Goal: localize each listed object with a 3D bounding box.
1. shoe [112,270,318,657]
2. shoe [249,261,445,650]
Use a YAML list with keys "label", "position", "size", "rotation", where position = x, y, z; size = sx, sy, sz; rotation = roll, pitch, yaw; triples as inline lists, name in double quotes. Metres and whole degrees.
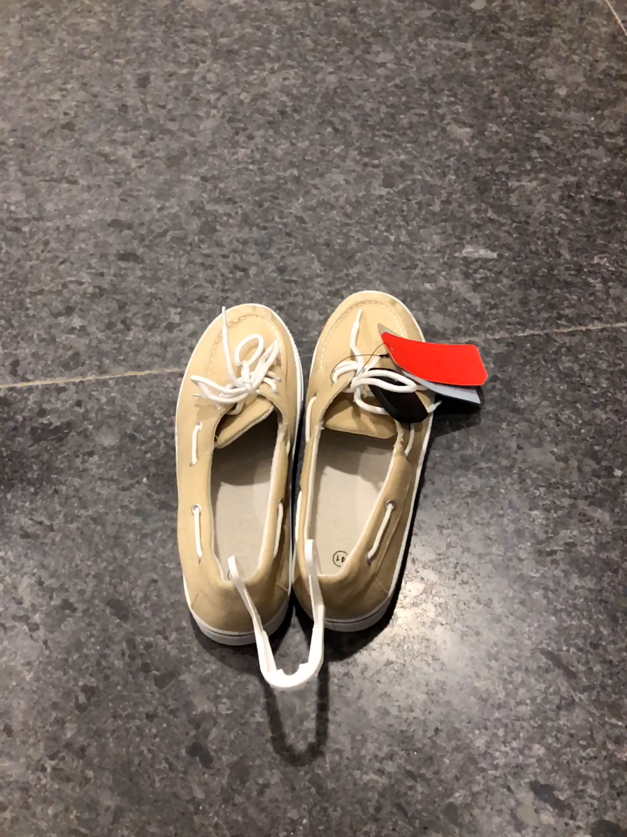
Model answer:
- label: "shoe"
  position: [-0.055, 0.026, 0.480]
  size: [0.103, 0.106, 0.243]
  rotation: [-3, 56, 3]
- label: "shoe"
  position: [0.034, 0.018, 0.480]
  size: [0.096, 0.106, 0.243]
  rotation: [4, 57, 8]
